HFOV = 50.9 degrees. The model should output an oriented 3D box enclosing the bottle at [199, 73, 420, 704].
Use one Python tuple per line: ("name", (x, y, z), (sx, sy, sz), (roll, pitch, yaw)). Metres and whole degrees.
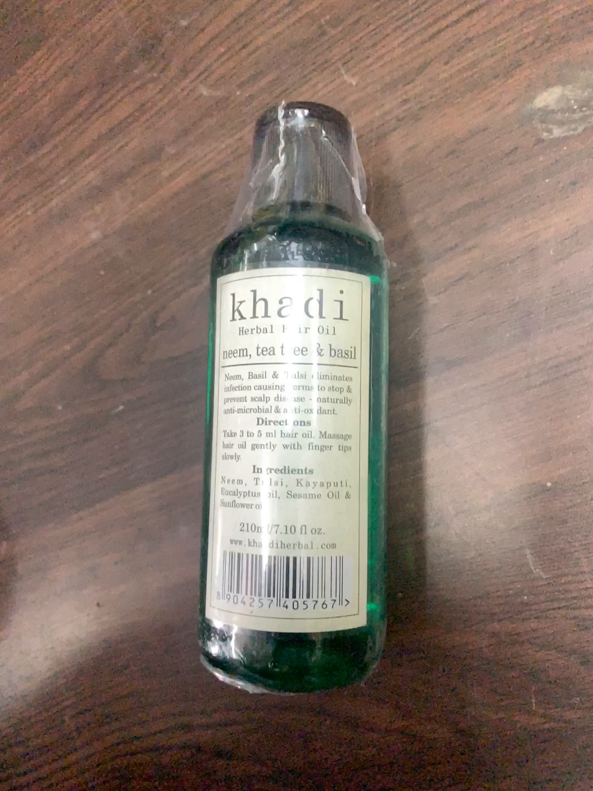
("bottle", (0.004, -0.003, 0.173), (0.050, 0.050, 0.150), (1, 84, -1))
